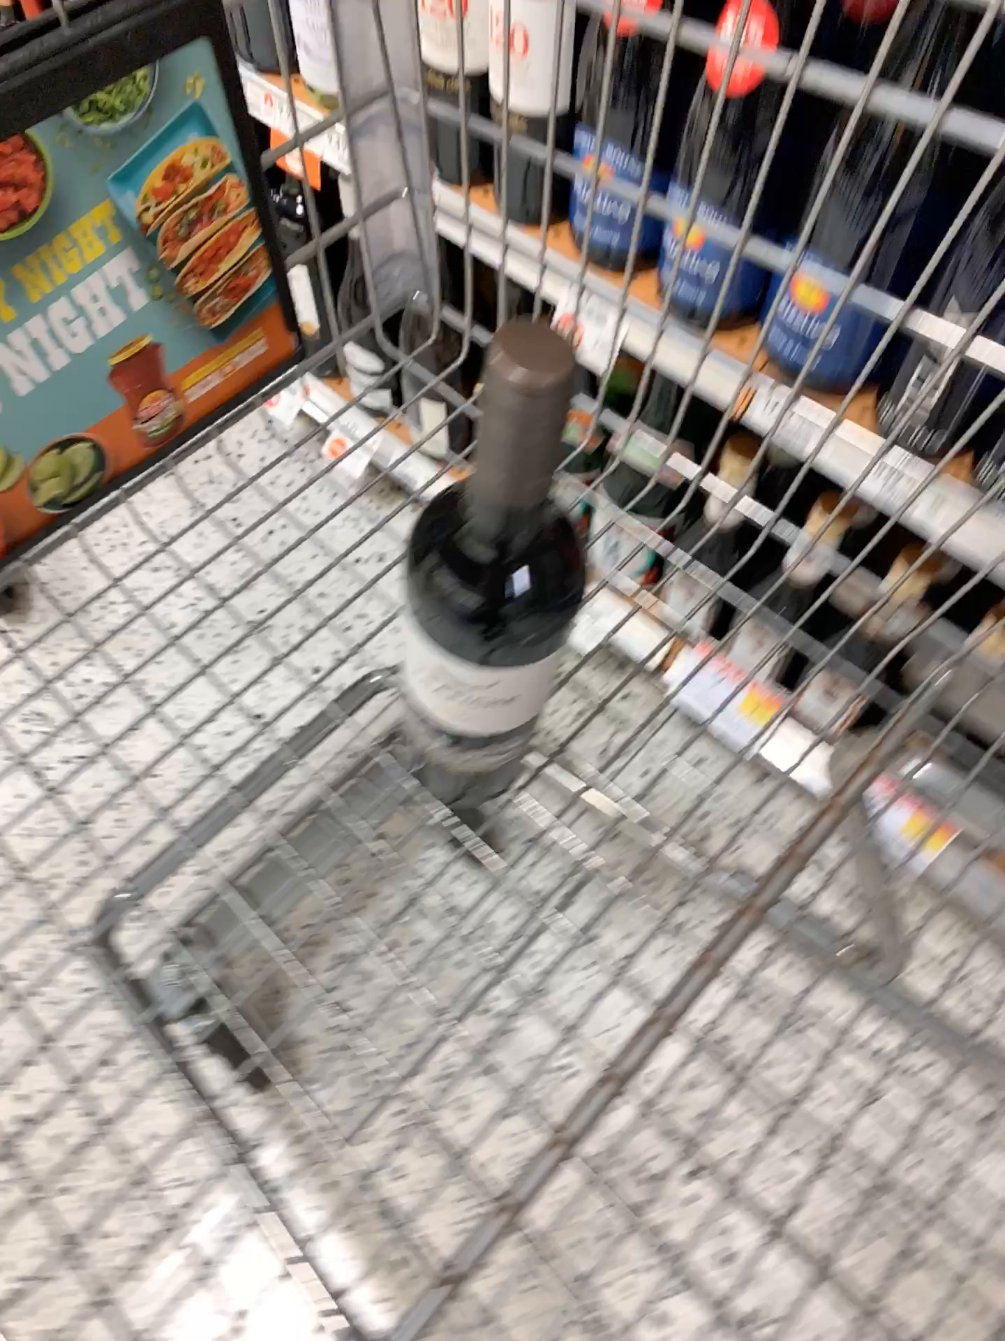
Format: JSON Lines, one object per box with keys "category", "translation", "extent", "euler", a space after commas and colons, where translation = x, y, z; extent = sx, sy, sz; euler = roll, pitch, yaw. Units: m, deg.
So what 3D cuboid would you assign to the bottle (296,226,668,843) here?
{"category": "bottle", "translation": [-0.014, -0.029, 0.454], "extent": [0.090, 0.298, 0.091], "euler": [2, 62, -3]}
